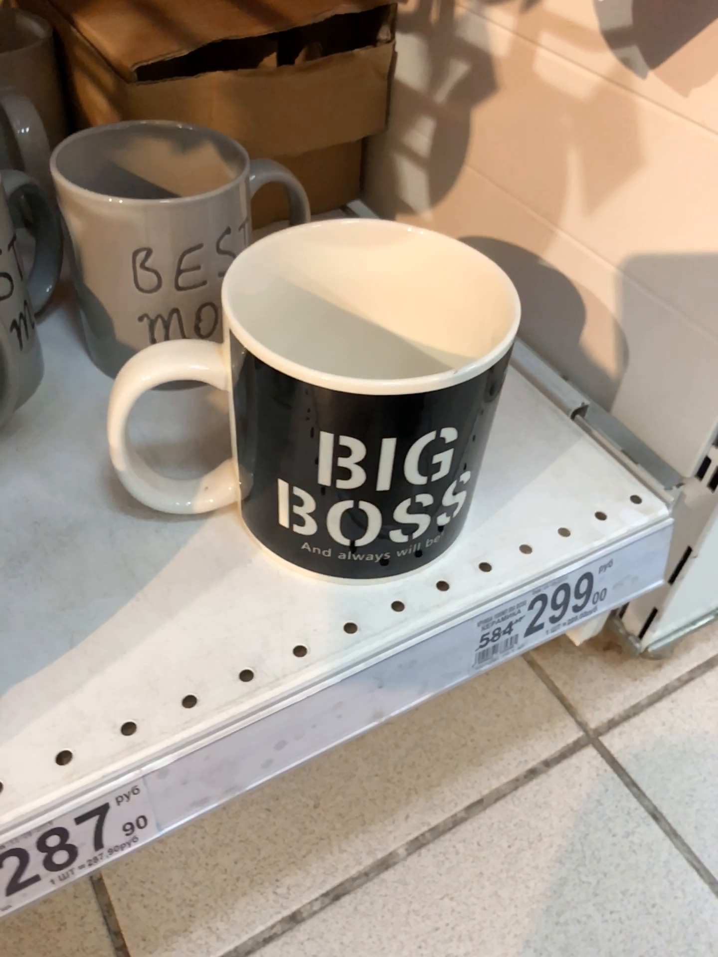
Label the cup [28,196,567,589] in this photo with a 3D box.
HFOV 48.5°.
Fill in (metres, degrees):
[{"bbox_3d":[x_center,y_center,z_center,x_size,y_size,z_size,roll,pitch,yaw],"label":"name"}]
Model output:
[{"bbox_3d":[-0.027,-0.038,0.367,0.188,0.122,0.128,1,45,-6],"label":"cup"}]
